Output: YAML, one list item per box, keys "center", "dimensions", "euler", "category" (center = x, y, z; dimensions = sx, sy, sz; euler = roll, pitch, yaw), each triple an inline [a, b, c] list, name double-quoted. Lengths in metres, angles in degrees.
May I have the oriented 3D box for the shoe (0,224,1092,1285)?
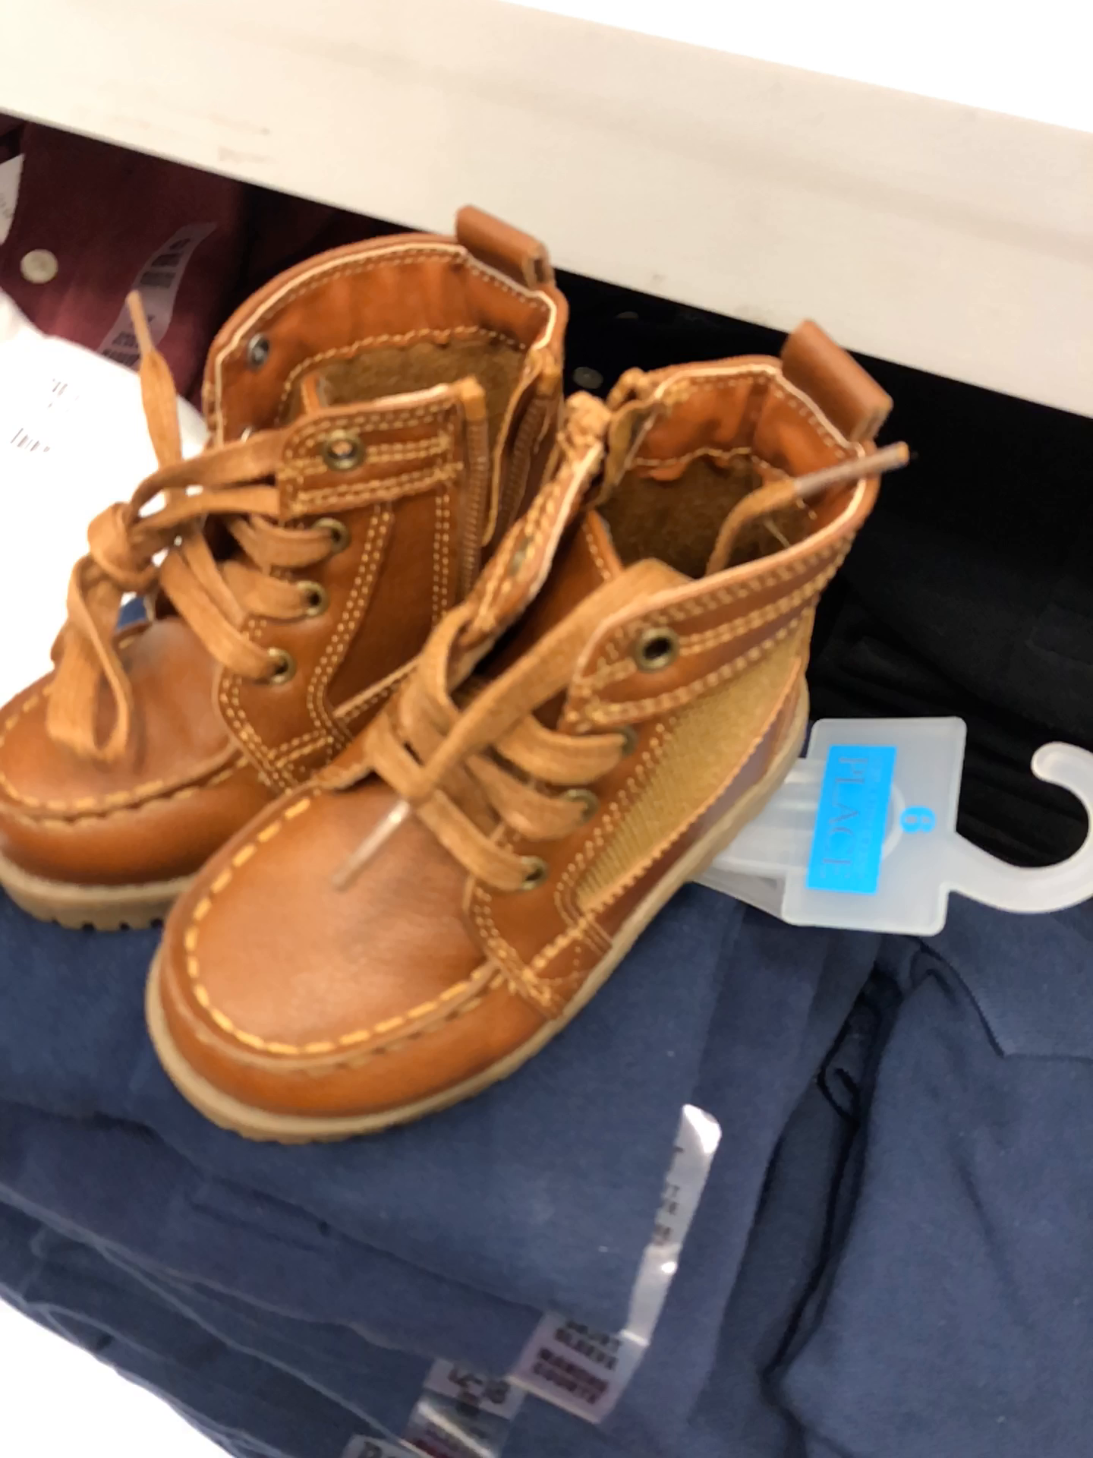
- center: [-0.001, 0.003, 0.215]
  dimensions: [0.161, 0.101, 0.080]
  euler: [-33, 66, -23]
  category: "shoe"

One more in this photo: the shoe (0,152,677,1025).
- center: [-0.062, -0.031, 0.244]
  dimensions: [0.151, 0.101, 0.080]
  euler: [-25, 54, -19]
  category: "shoe"
